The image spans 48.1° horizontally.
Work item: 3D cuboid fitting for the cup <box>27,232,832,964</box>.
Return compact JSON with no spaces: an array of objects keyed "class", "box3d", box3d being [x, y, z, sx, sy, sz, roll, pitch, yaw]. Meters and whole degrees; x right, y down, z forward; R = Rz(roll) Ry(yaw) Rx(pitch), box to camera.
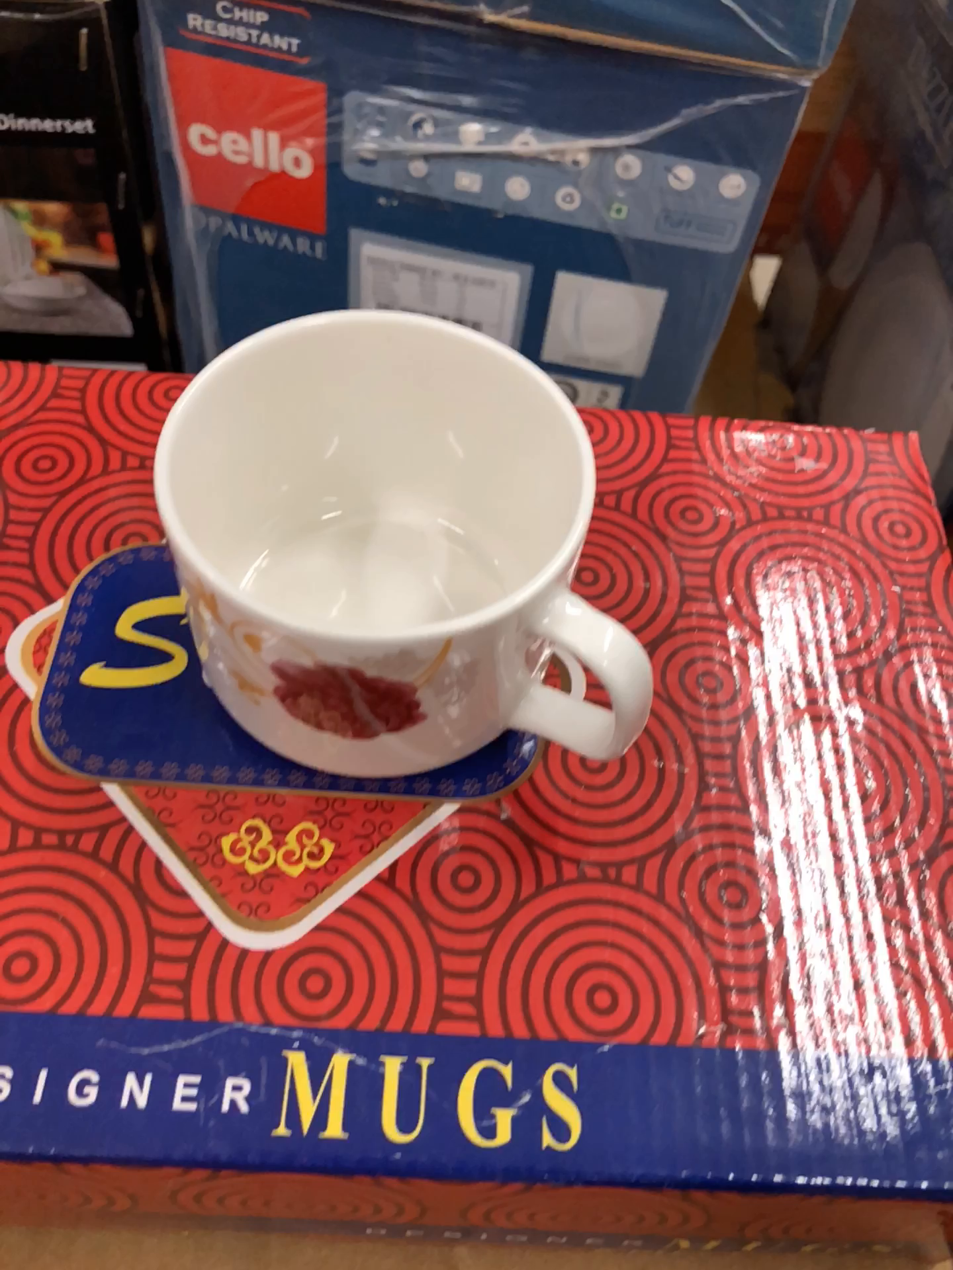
[{"class":"cup","box3d":[-0.007,-0.012,0.190,0.100,0.050,0.080,33,57,15]}]
